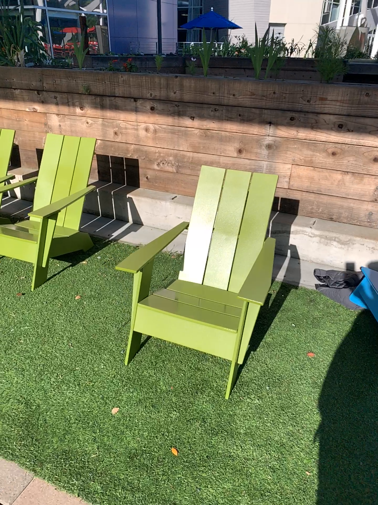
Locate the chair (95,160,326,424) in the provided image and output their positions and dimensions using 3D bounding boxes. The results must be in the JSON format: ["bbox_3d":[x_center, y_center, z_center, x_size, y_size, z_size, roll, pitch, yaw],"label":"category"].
[{"bbox_3d":[0.176,0.104,2.148,0.851,0.895,1.004,13,31,21],"label":"chair"}]
